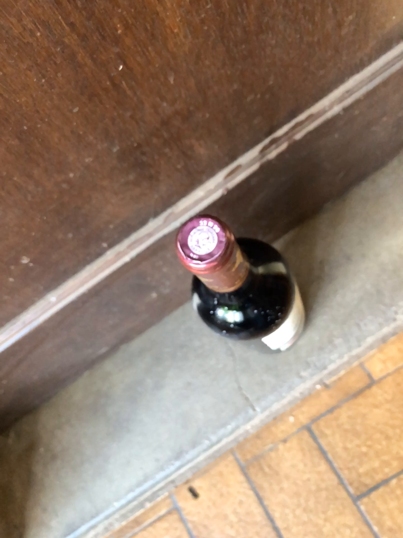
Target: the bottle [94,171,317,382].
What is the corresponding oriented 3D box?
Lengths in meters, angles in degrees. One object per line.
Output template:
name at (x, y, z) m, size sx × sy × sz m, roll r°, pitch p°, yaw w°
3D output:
bottle at (0.034, 0.032, 0.337) m, size 0.080 × 0.280 × 0.080 m, roll -4°, pitch 75°, yaw 14°
